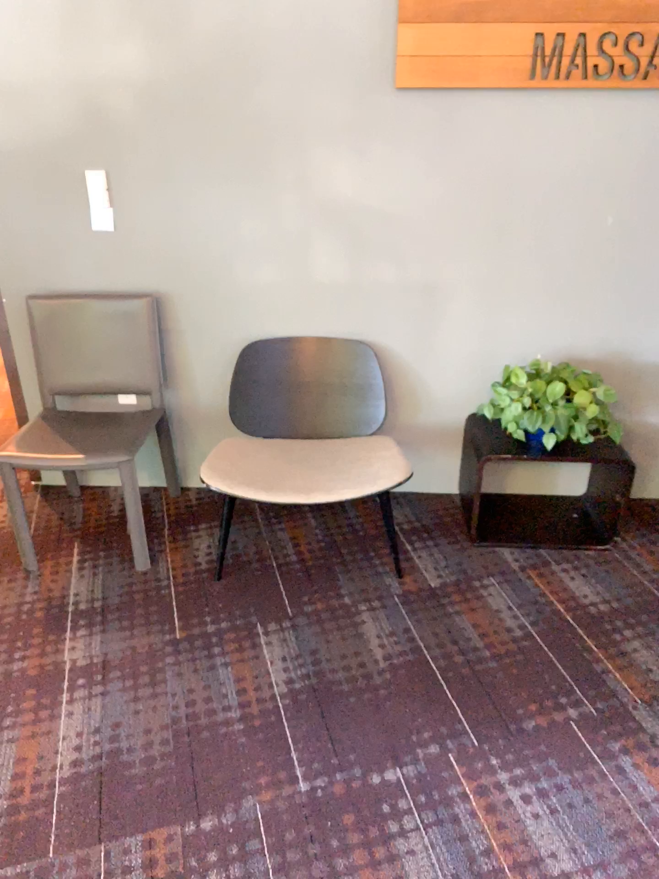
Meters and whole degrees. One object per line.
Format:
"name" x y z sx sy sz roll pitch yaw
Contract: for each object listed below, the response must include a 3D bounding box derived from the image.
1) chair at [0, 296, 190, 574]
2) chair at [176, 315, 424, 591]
"chair" -0.956 -0.042 2.609 0.640 0.835 0.694 -1 27 -1
"chair" -0.098 0.026 2.670 0.790 0.835 0.714 -1 27 -1
